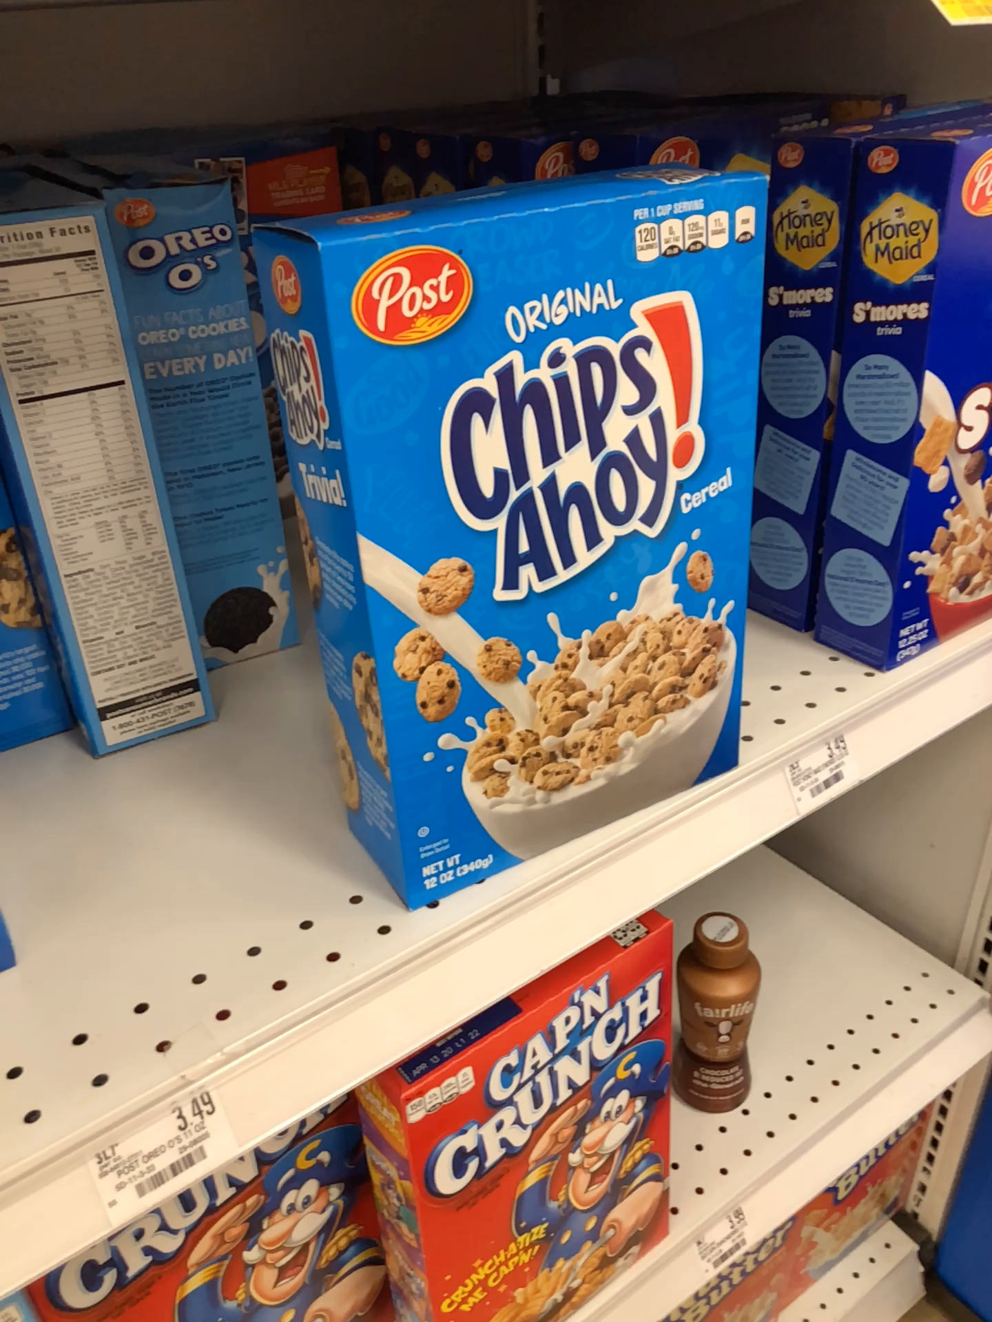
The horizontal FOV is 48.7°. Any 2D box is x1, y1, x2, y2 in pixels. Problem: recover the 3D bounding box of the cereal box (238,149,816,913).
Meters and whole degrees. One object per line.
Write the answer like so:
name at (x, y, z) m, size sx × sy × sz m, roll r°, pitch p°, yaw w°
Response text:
cereal box at (0.022, -0.056, 0.447) m, size 0.190 × 0.259 × 0.080 m, roll -19°, pitch 32°, yaw -25°
